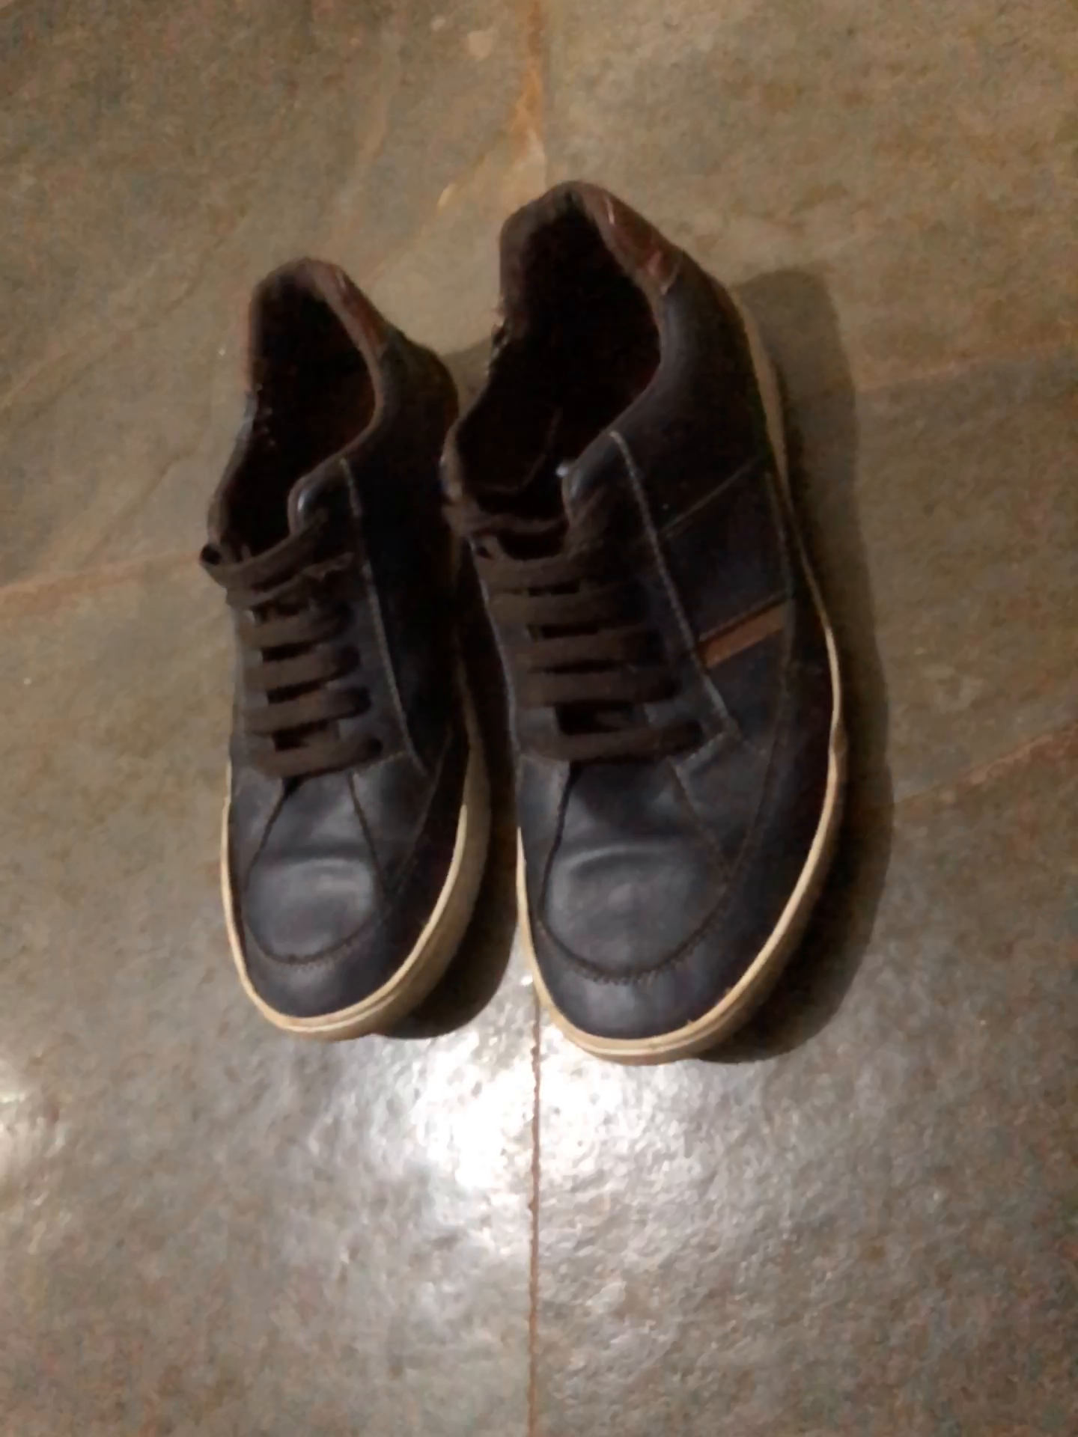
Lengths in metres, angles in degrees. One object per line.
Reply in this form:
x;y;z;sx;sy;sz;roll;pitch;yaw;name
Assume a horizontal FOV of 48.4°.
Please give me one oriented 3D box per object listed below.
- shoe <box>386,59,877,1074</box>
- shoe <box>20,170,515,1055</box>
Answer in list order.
0.028;-0.039;0.383;0.110;0.100;0.291;-9;71;24;shoe
-0.087;-0.029;0.437;0.120;0.100;0.291;-7;72;25;shoe
